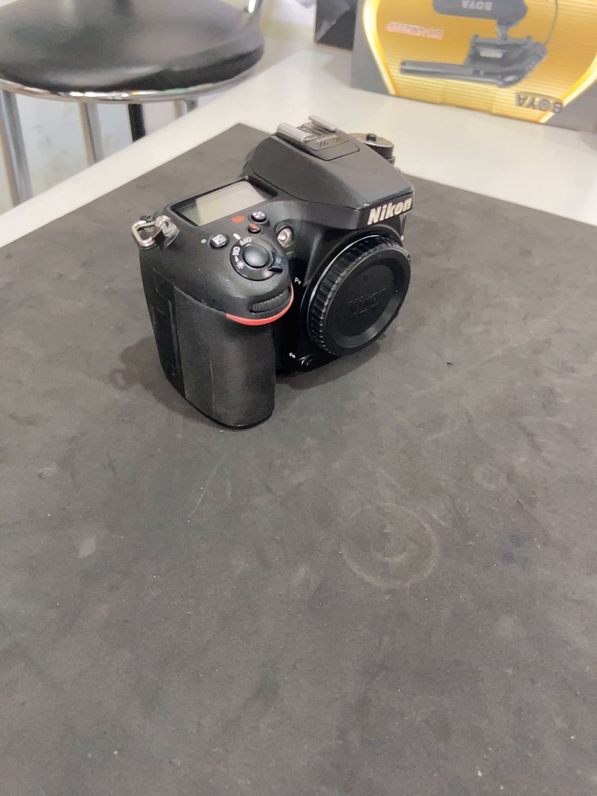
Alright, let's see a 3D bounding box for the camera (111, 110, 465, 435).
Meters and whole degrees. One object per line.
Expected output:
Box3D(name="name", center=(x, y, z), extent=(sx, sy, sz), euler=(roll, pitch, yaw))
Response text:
Box3D(name="camera", center=(-0.002, -0.068, 0.303), extent=(0.141, 0.092, 0.078), euler=(-31, 53, -32))
